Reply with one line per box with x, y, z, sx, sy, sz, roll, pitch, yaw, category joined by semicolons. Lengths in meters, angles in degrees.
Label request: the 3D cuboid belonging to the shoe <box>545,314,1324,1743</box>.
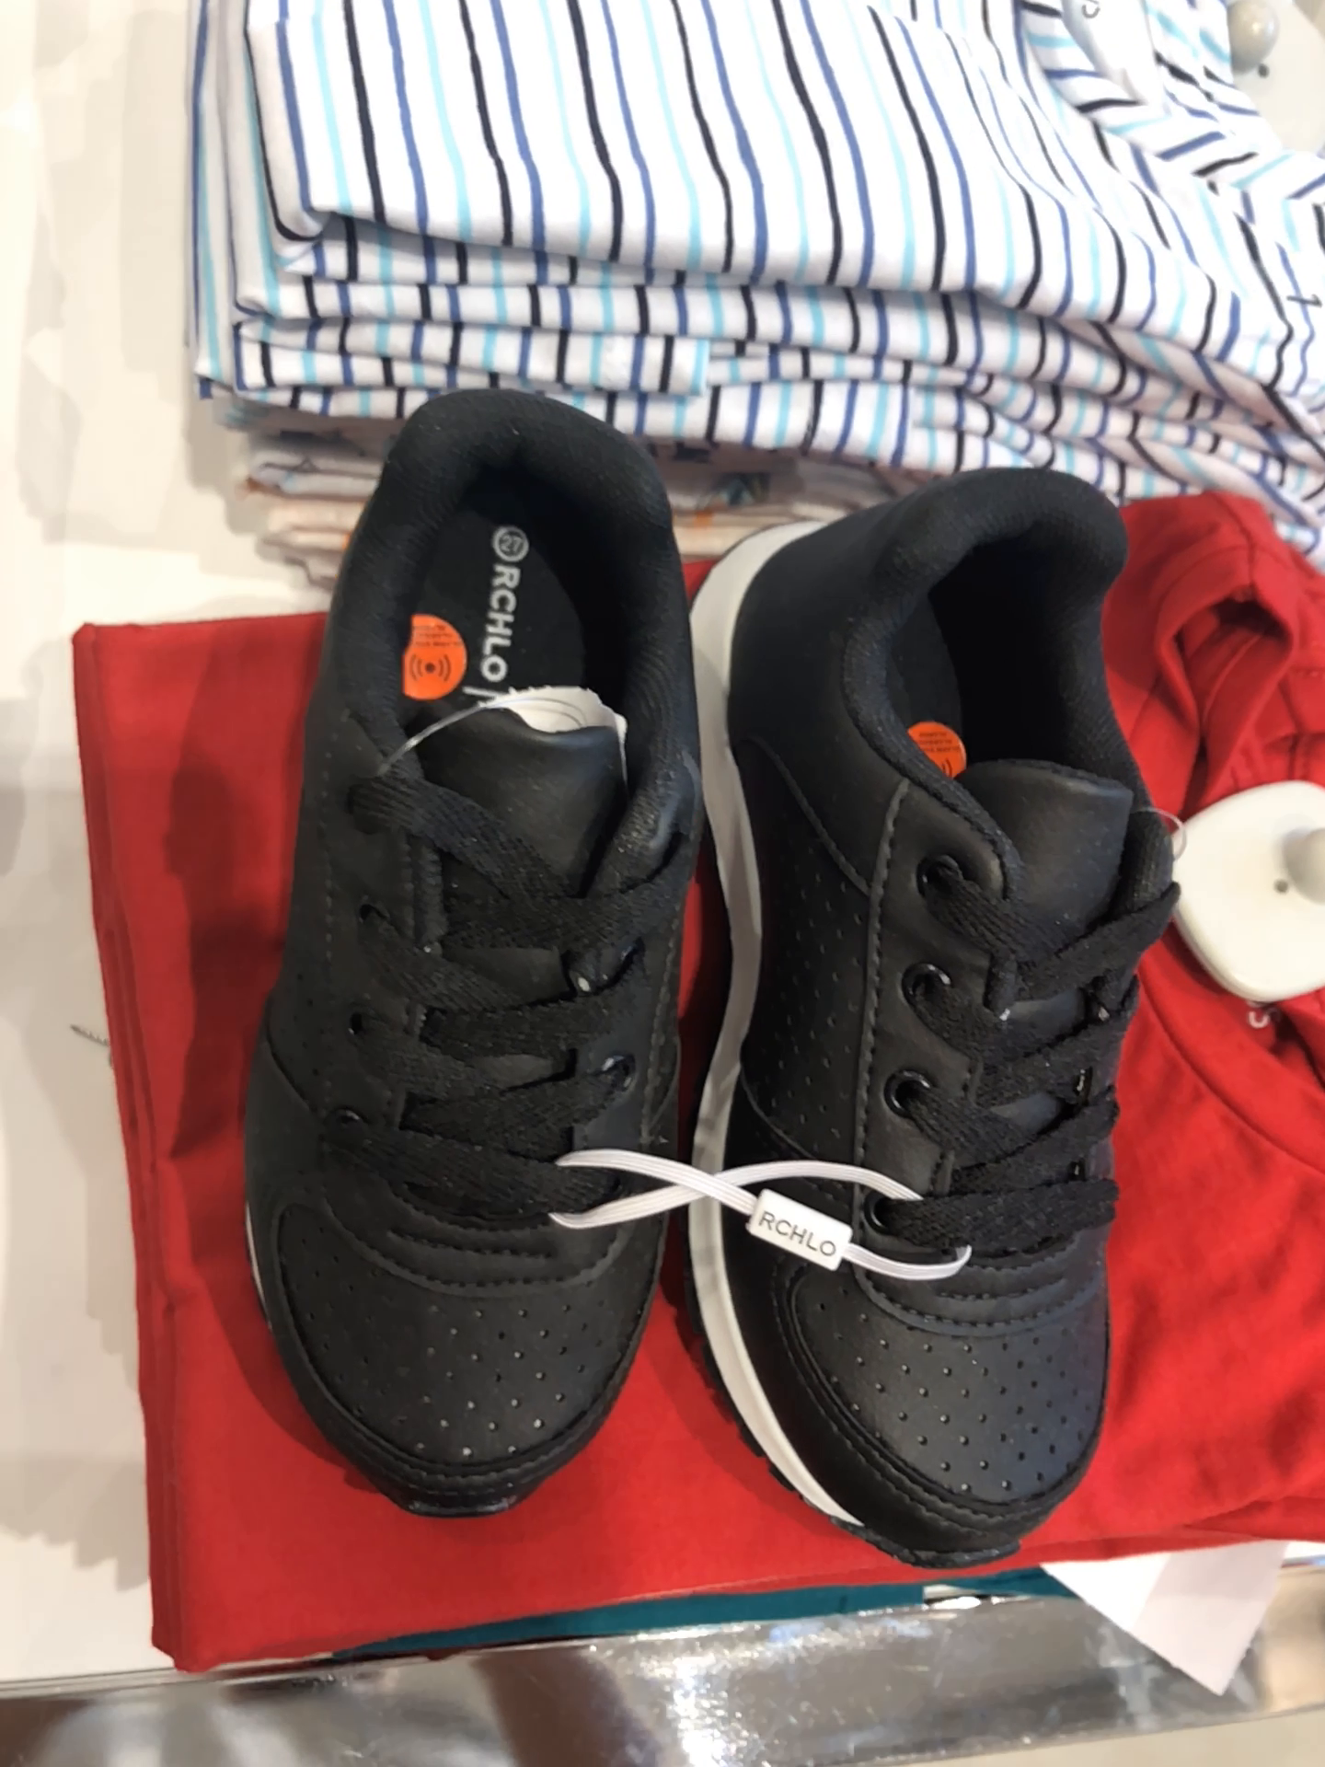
0.036;0.020;0.252;0.080;0.086;0.190;0;79;-23;shoe

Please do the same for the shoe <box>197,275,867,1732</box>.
-0.023;0.016;0.234;0.080;0.080;0.180;5;82;-19;shoe
